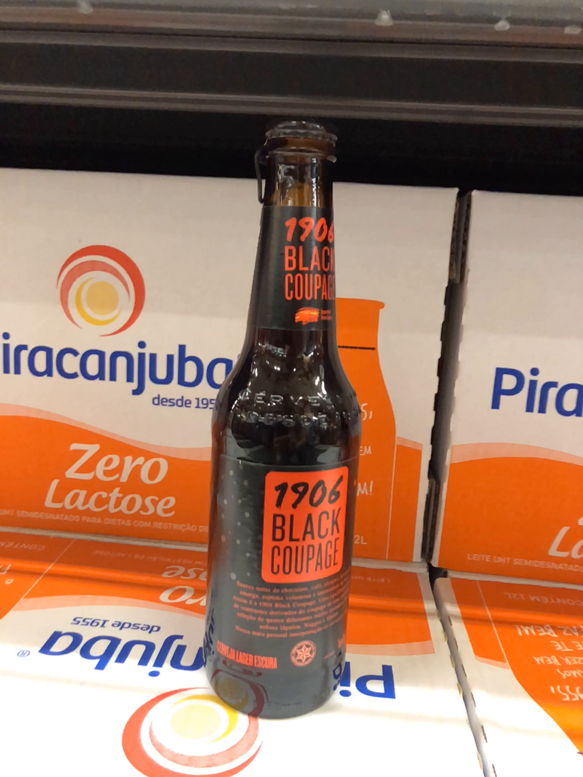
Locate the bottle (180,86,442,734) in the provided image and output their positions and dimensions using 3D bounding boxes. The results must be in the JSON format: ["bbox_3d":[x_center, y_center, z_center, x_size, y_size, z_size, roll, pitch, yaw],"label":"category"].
[{"bbox_3d":[0.002,0.009,0.256,0.070,0.219,0.060,-1,11,-25],"label":"bottle"}]
